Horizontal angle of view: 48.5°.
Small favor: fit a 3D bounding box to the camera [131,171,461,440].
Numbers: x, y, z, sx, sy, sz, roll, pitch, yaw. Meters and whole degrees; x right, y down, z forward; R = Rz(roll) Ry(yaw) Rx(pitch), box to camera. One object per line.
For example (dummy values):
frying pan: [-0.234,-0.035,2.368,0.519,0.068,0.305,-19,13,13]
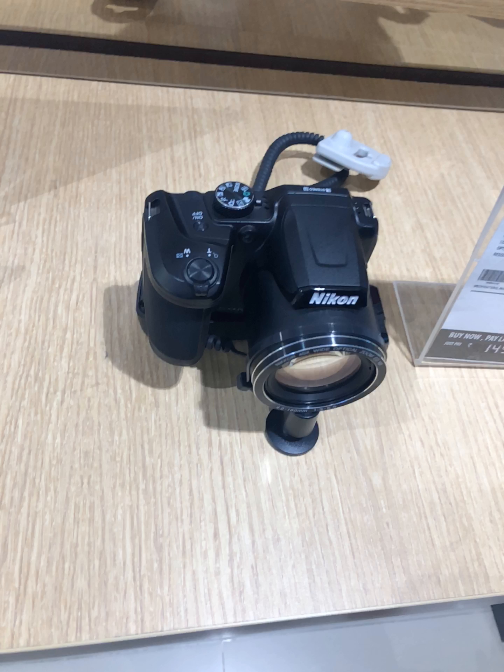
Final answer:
camera: [0.008,-0.013,0.249,0.120,0.070,0.090,-1,56,-12]
